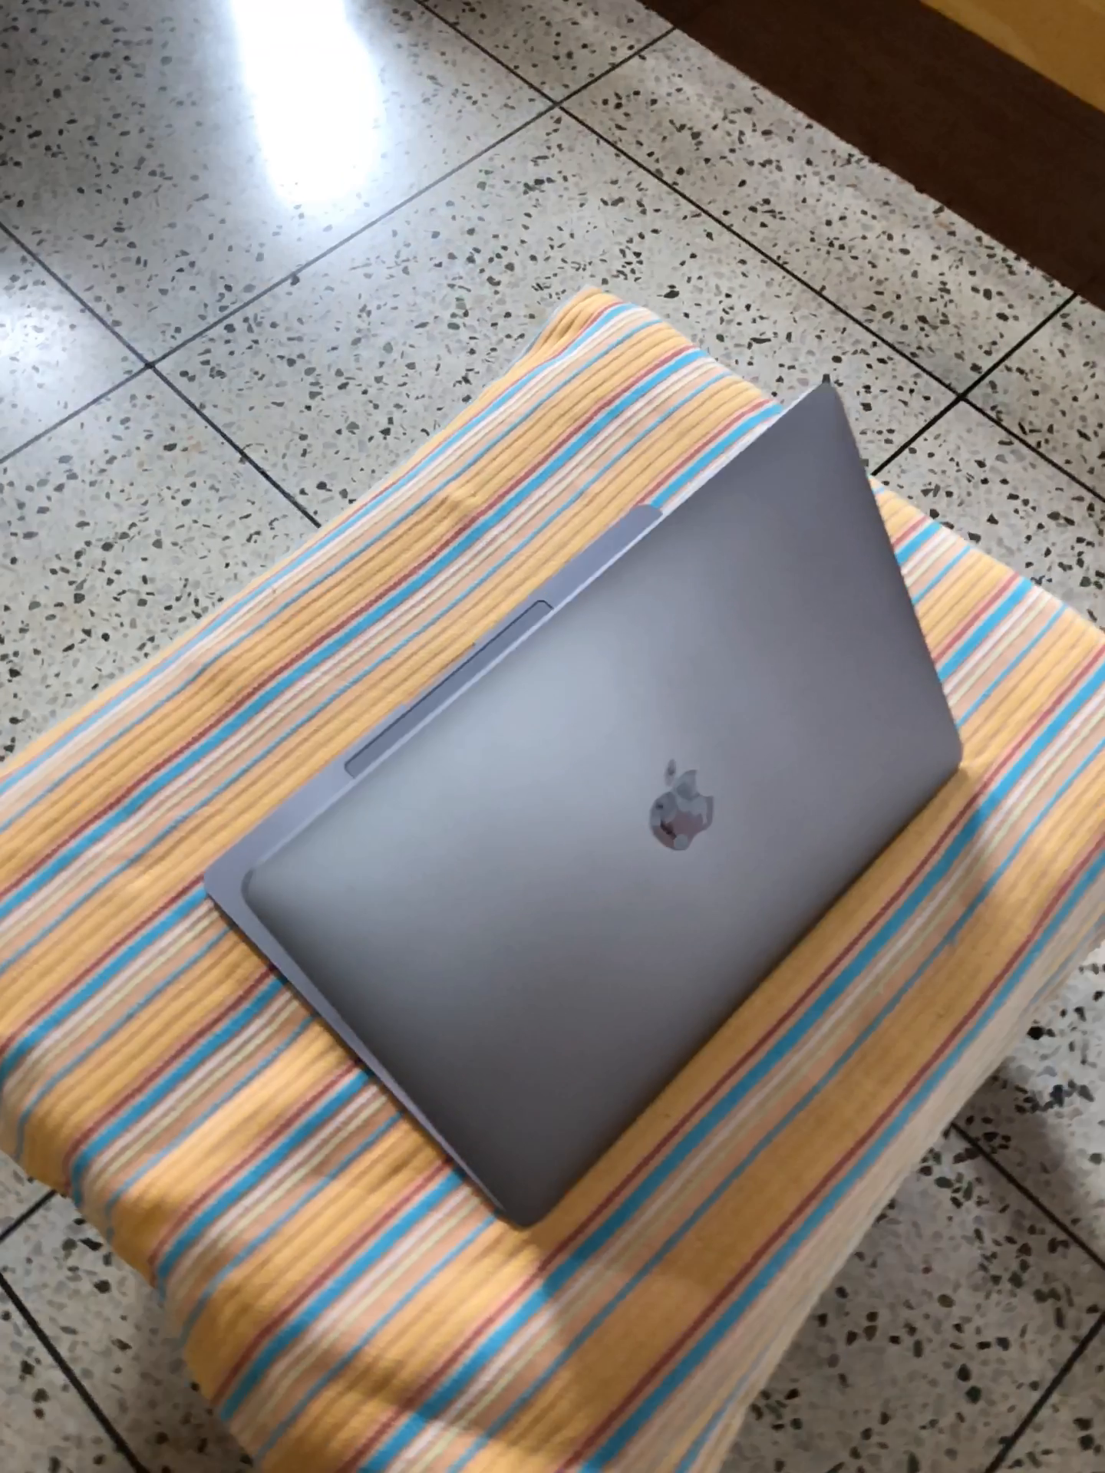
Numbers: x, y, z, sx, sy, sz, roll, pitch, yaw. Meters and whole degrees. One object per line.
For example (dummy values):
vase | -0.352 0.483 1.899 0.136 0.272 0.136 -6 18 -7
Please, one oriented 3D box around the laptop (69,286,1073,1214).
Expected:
laptop | 0.012 0.004 0.500 0.295 0.160 0.203 -41 72 -18
